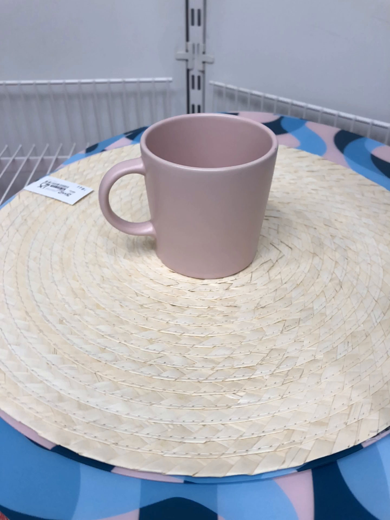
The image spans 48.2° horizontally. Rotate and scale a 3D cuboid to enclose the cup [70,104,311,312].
[{"bbox_3d":[-0.008,-0.044,0.310,0.130,0.090,0.100,-13,38,-16],"label":"cup"}]
